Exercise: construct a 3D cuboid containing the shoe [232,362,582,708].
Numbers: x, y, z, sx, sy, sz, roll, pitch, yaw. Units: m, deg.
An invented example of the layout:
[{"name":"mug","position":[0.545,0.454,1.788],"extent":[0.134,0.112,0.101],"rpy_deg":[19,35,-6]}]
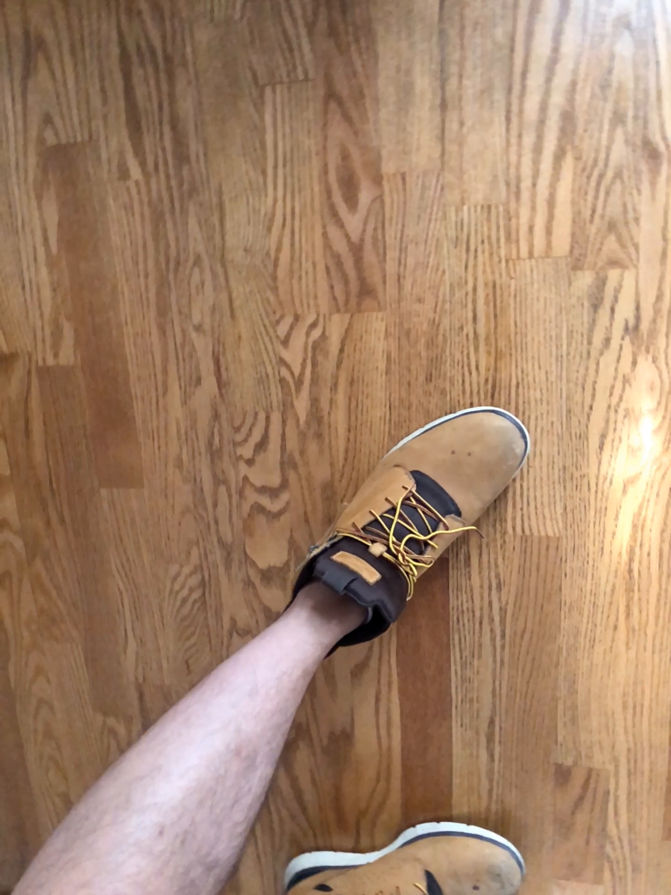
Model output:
[{"name":"shoe","position":[0.063,0.073,0.709],"extent":[0.120,0.150,0.310],"rpy_deg":[43,98,-1]}]
